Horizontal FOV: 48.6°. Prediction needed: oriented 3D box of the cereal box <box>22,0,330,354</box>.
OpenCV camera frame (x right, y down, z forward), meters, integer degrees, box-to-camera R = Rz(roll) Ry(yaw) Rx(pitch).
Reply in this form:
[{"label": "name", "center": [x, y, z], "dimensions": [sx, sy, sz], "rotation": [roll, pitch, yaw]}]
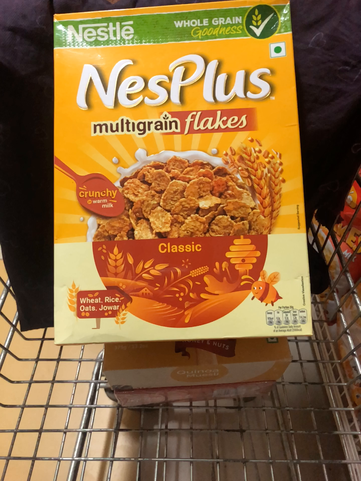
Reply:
[{"label": "cereal box", "center": [-0.004, -0.061, 0.300], "dimensions": [0.190, 0.080, 0.260], "rotation": [-2, 89, -2]}]
